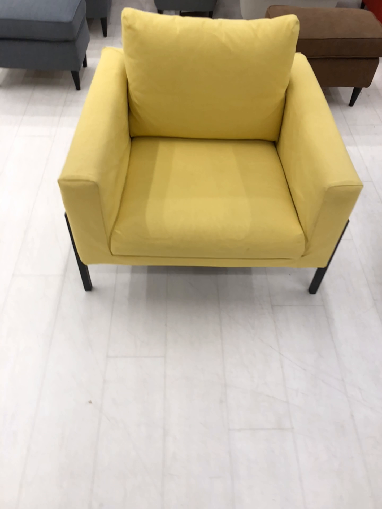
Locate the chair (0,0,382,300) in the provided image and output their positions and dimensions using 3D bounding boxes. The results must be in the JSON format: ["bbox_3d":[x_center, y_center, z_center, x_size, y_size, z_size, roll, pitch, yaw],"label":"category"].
[{"bbox_3d":[0.041,-0.340,1.461,0.980,0.758,0.692,0,51,-2],"label":"chair"}]
